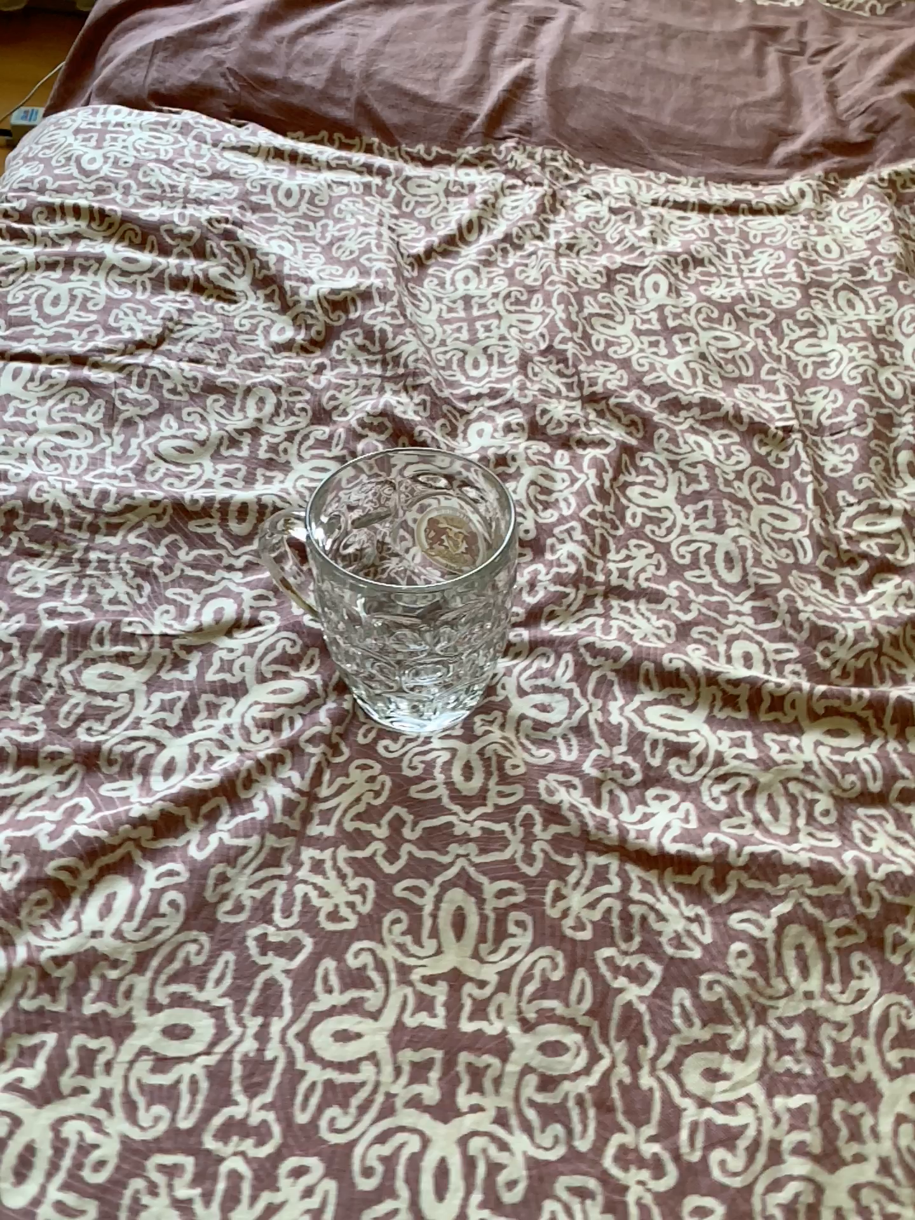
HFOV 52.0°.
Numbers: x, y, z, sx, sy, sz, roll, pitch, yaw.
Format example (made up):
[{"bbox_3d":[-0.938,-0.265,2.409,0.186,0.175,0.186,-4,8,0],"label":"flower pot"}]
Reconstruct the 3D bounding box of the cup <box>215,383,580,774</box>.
[{"bbox_3d":[-0.026,-0.015,0.424,0.120,0.109,0.091,24,49,16],"label":"cup"}]
